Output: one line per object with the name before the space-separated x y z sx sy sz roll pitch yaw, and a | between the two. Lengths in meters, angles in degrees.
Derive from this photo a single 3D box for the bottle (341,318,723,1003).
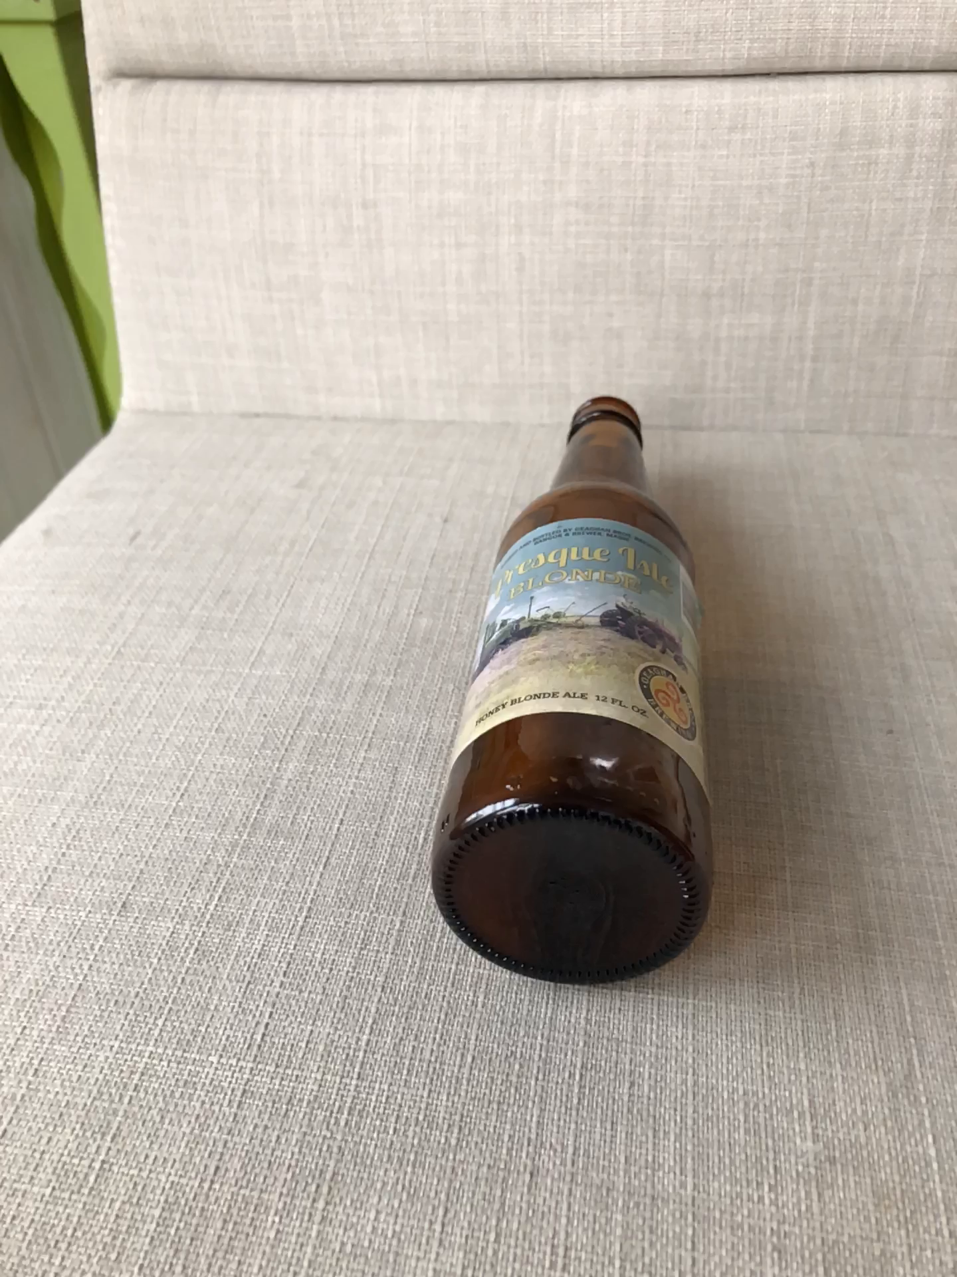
bottle | 0.029 -0.015 0.305 0.065 0.060 0.232 -7 35 15
